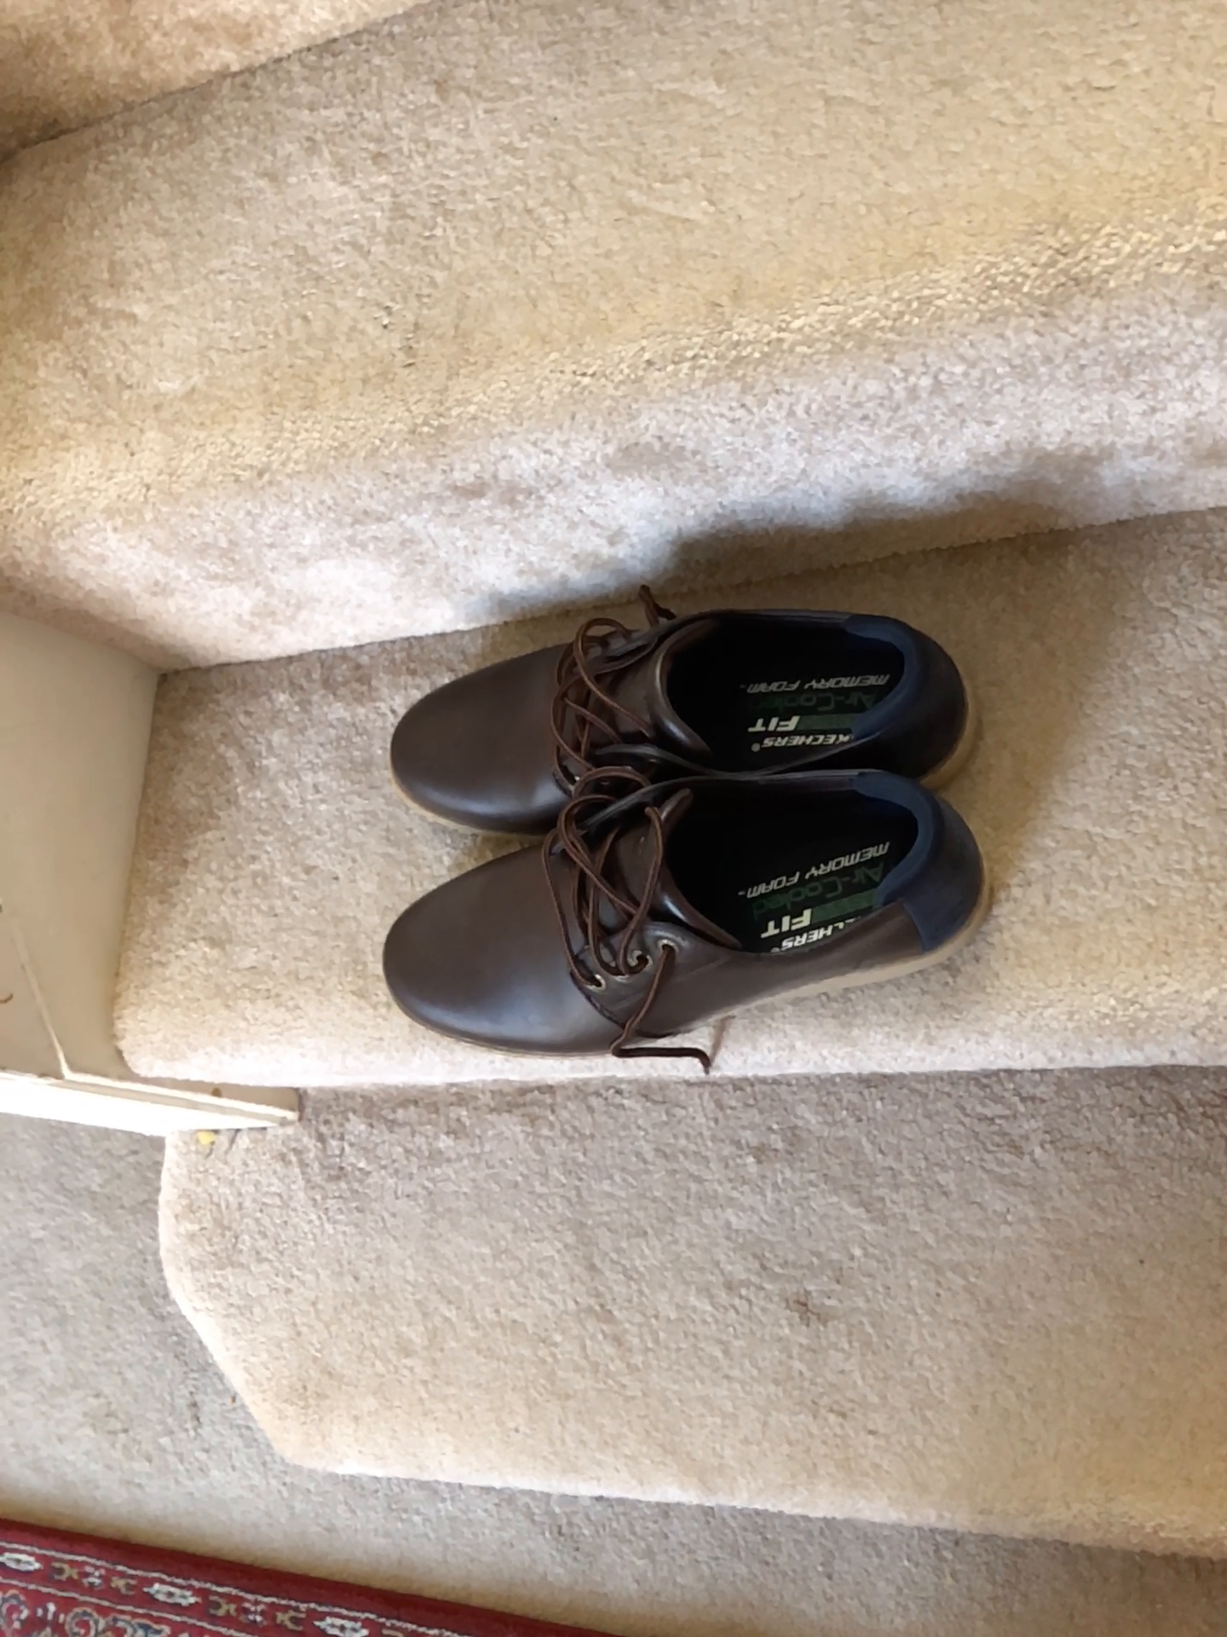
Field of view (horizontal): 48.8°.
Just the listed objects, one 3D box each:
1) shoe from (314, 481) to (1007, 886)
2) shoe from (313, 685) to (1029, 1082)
[{"bbox_3d":[0.016,-0.051,0.628,0.300,0.090,0.110,-9,69,22],"label":"shoe"},{"bbox_3d":[0.018,0.040,0.609,0.300,0.090,0.110,-12,68,21],"label":"shoe"}]
